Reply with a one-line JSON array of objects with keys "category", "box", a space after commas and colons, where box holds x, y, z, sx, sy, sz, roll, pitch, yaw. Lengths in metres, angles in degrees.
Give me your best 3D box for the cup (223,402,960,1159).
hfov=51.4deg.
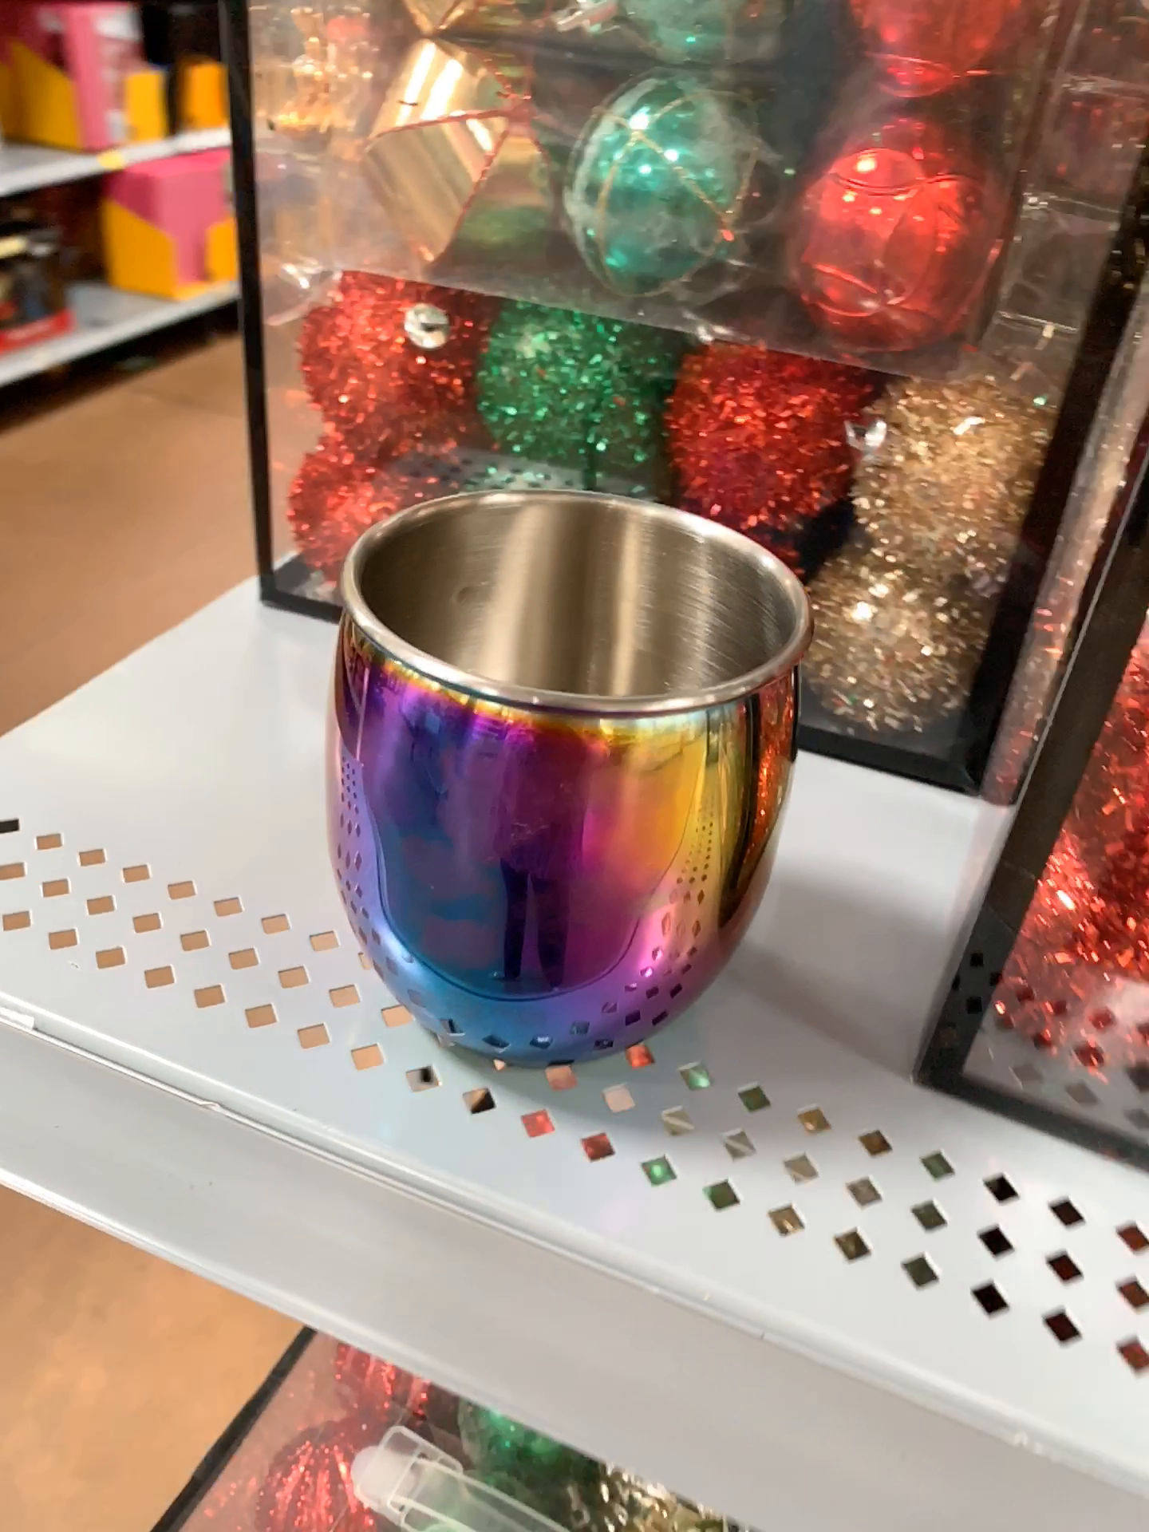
[{"category": "cup", "box": [-0.005, -0.007, 0.244, 0.087, 0.090, 0.110, -18, 42, -32]}]
